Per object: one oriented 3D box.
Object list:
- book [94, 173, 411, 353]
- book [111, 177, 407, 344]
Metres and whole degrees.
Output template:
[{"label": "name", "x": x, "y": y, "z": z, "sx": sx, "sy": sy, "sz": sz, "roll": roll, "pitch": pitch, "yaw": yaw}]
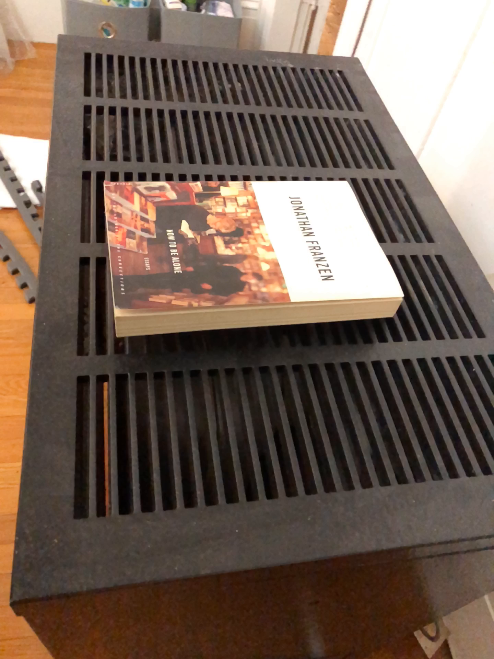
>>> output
[{"label": "book", "x": -0.003, "y": -0.060, "z": 0.415, "sx": 0.210, "sy": 0.030, "sz": 0.151, "roll": -4, "pitch": 52, "yaw": -16}, {"label": "book", "x": 0.003, "y": -0.065, "z": 0.445, "sx": 0.210, "sy": 0.030, "sz": 0.151, "roll": -4, "pitch": 52, "yaw": -16}]
